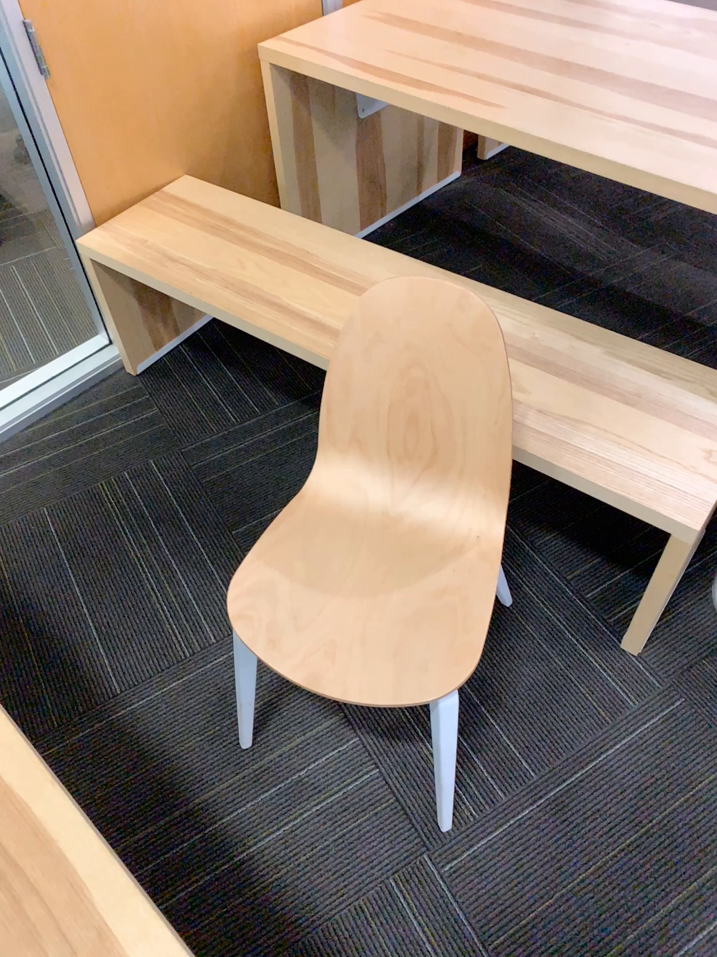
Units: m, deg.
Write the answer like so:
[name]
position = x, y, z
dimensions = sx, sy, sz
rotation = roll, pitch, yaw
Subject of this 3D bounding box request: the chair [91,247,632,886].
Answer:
[chair]
position = 0.074, 0.160, 1.235
dimensions = 0.521, 0.766, 0.652
rotation = 12, 51, 15
